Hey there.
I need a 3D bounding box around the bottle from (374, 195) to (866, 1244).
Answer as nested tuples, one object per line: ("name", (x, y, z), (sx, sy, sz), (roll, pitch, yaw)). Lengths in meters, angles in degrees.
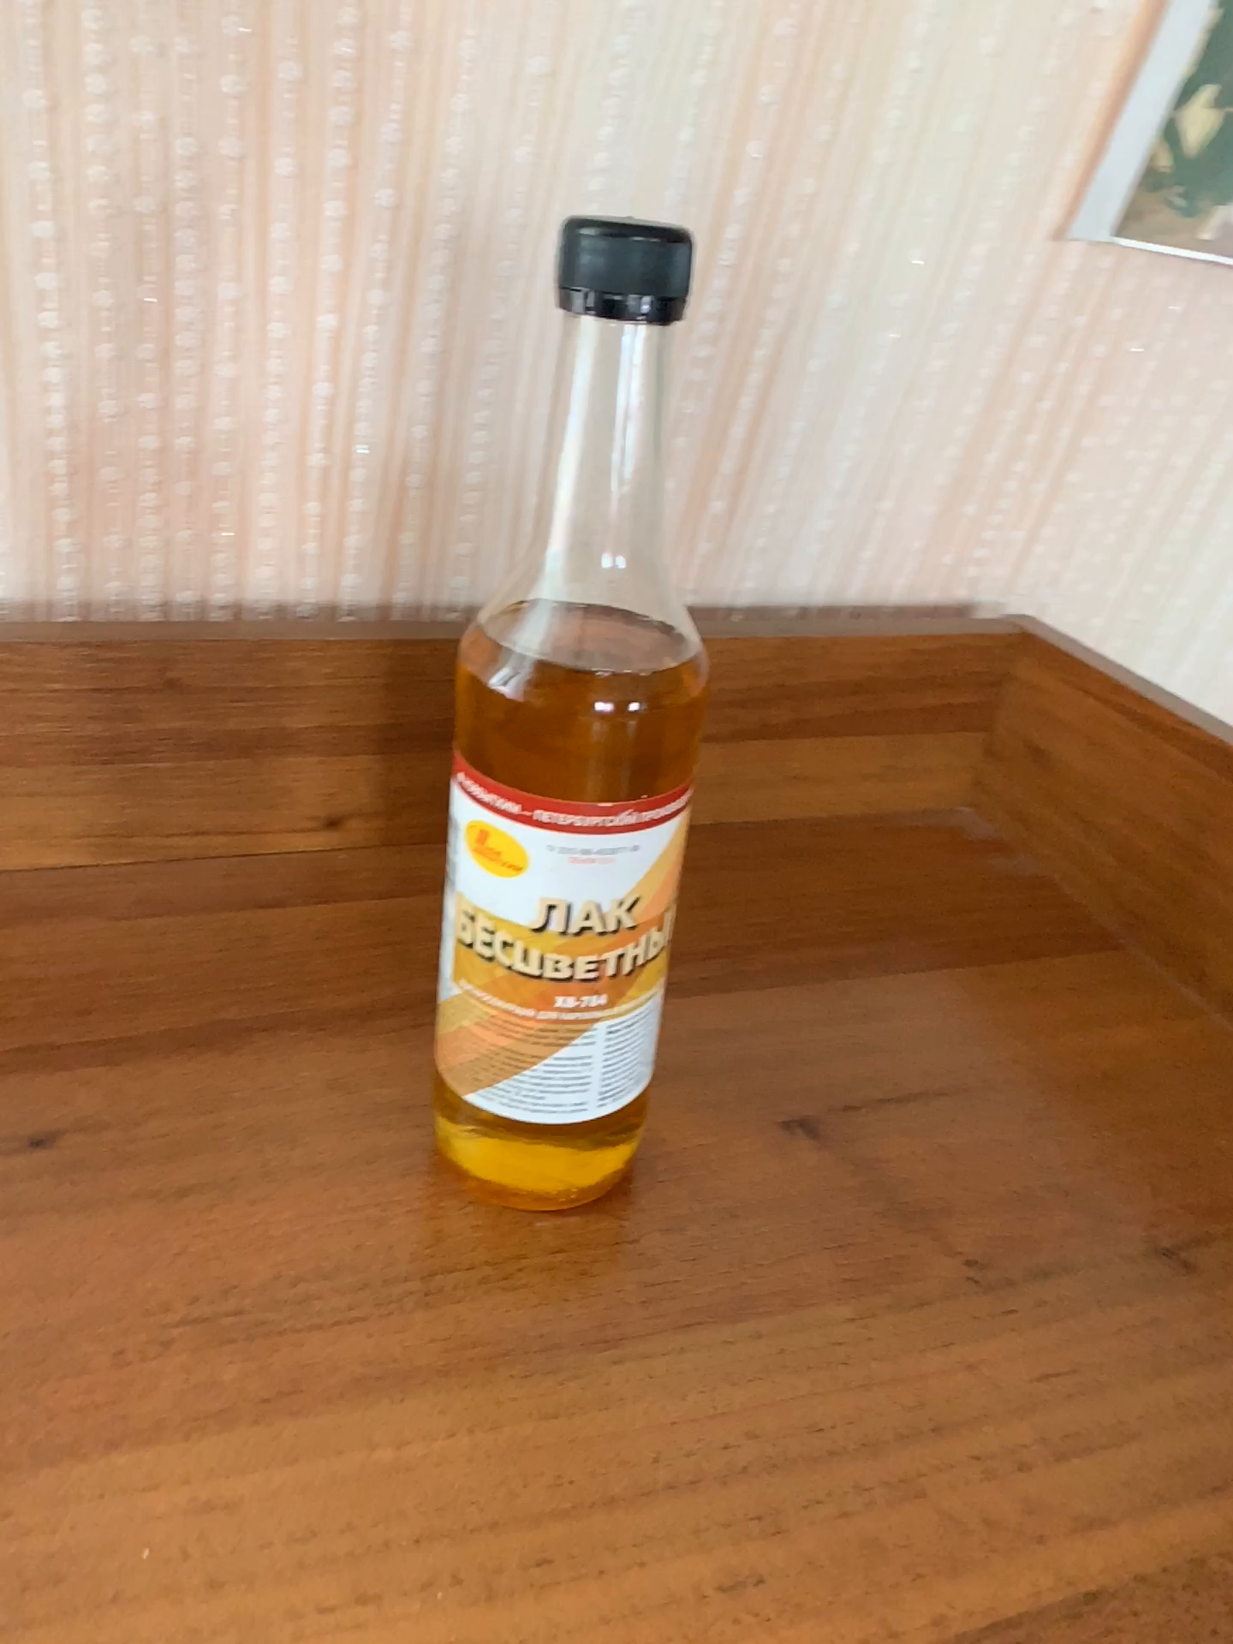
("bottle", (-0.013, -0.016, 0.335), (0.080, 0.258, 0.071), (0, 27, -17))
